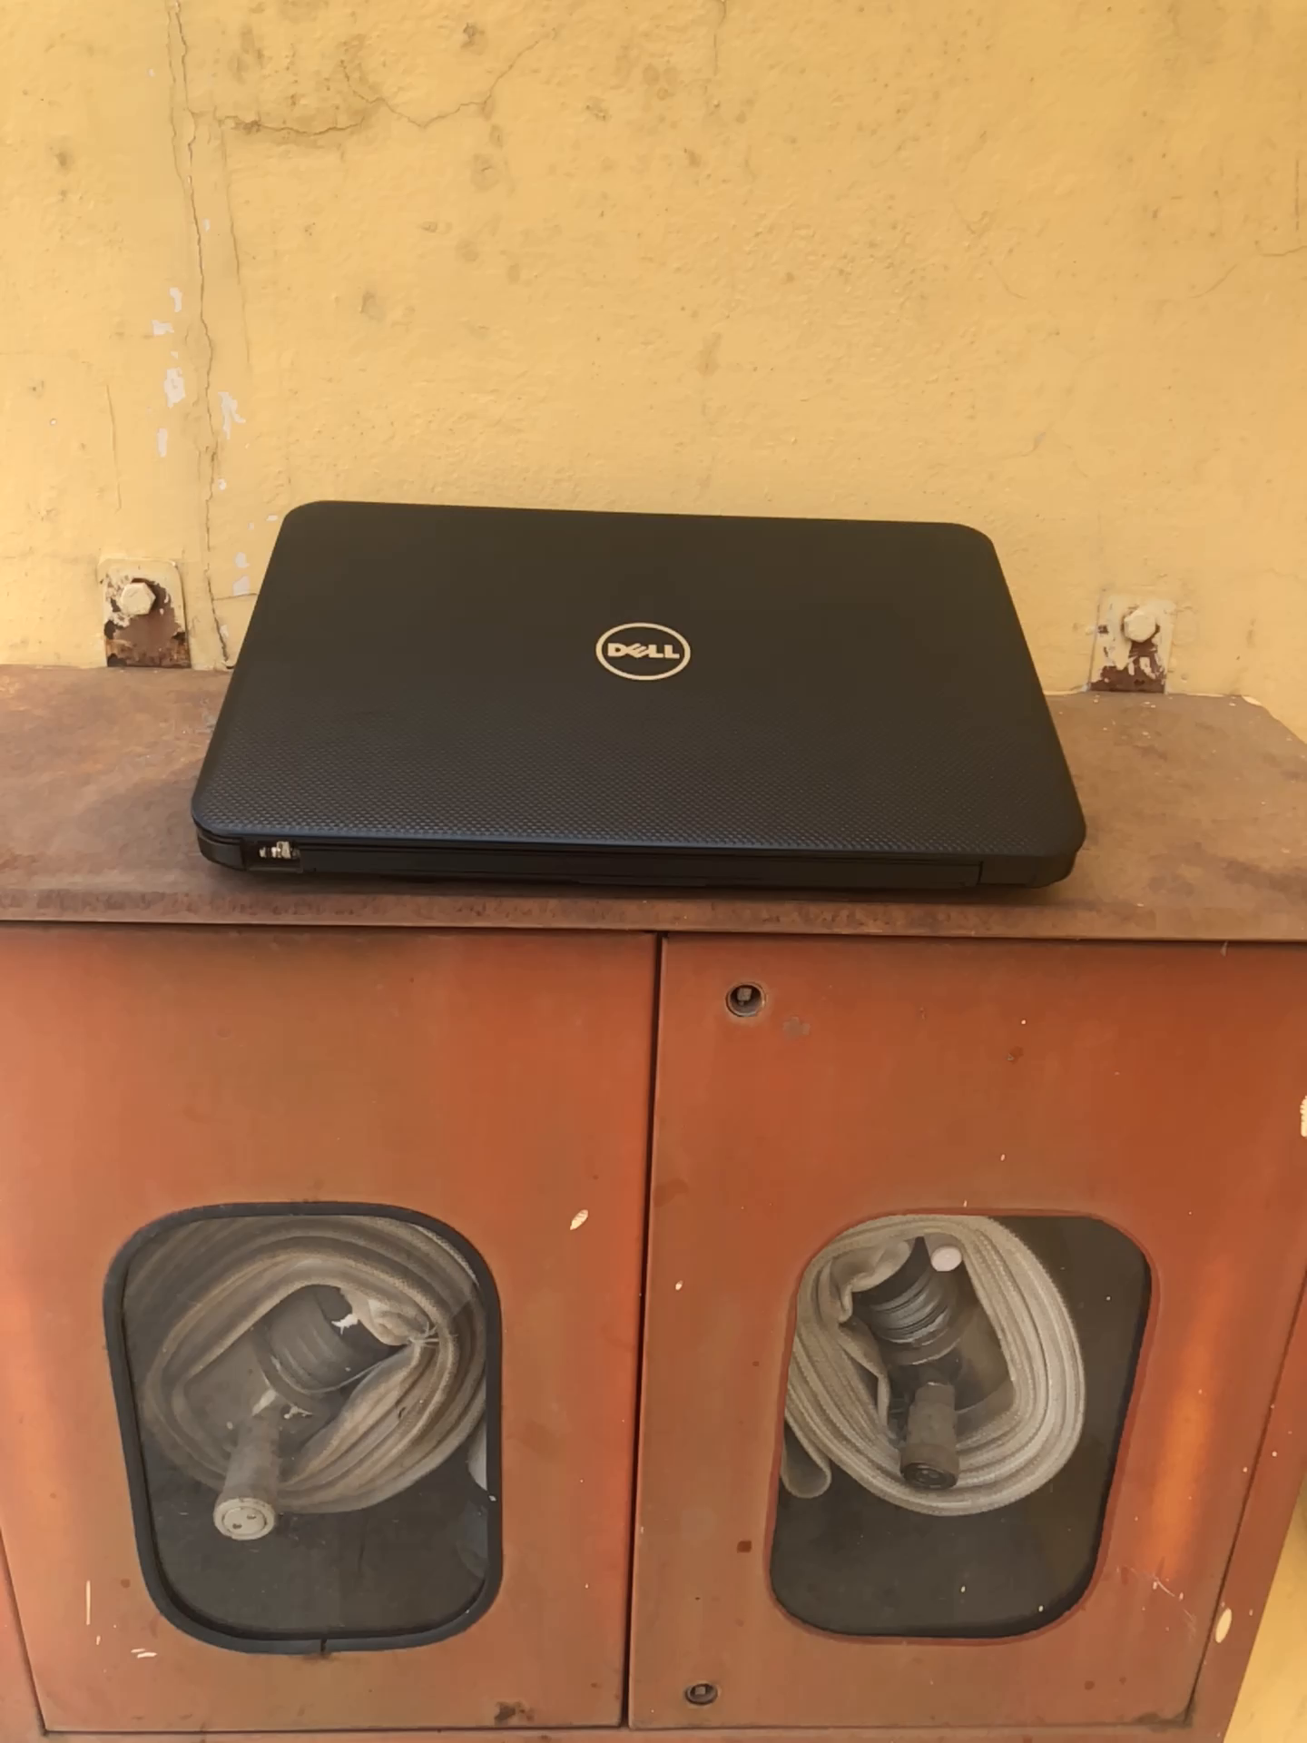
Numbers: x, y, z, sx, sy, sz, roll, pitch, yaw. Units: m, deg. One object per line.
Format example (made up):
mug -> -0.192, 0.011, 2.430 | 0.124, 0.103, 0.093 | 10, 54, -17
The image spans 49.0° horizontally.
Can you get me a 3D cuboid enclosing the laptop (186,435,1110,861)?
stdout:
laptop -> -0.001, -0.107, 0.641 | 0.352, 0.098, 0.184 | 1, 34, -2
